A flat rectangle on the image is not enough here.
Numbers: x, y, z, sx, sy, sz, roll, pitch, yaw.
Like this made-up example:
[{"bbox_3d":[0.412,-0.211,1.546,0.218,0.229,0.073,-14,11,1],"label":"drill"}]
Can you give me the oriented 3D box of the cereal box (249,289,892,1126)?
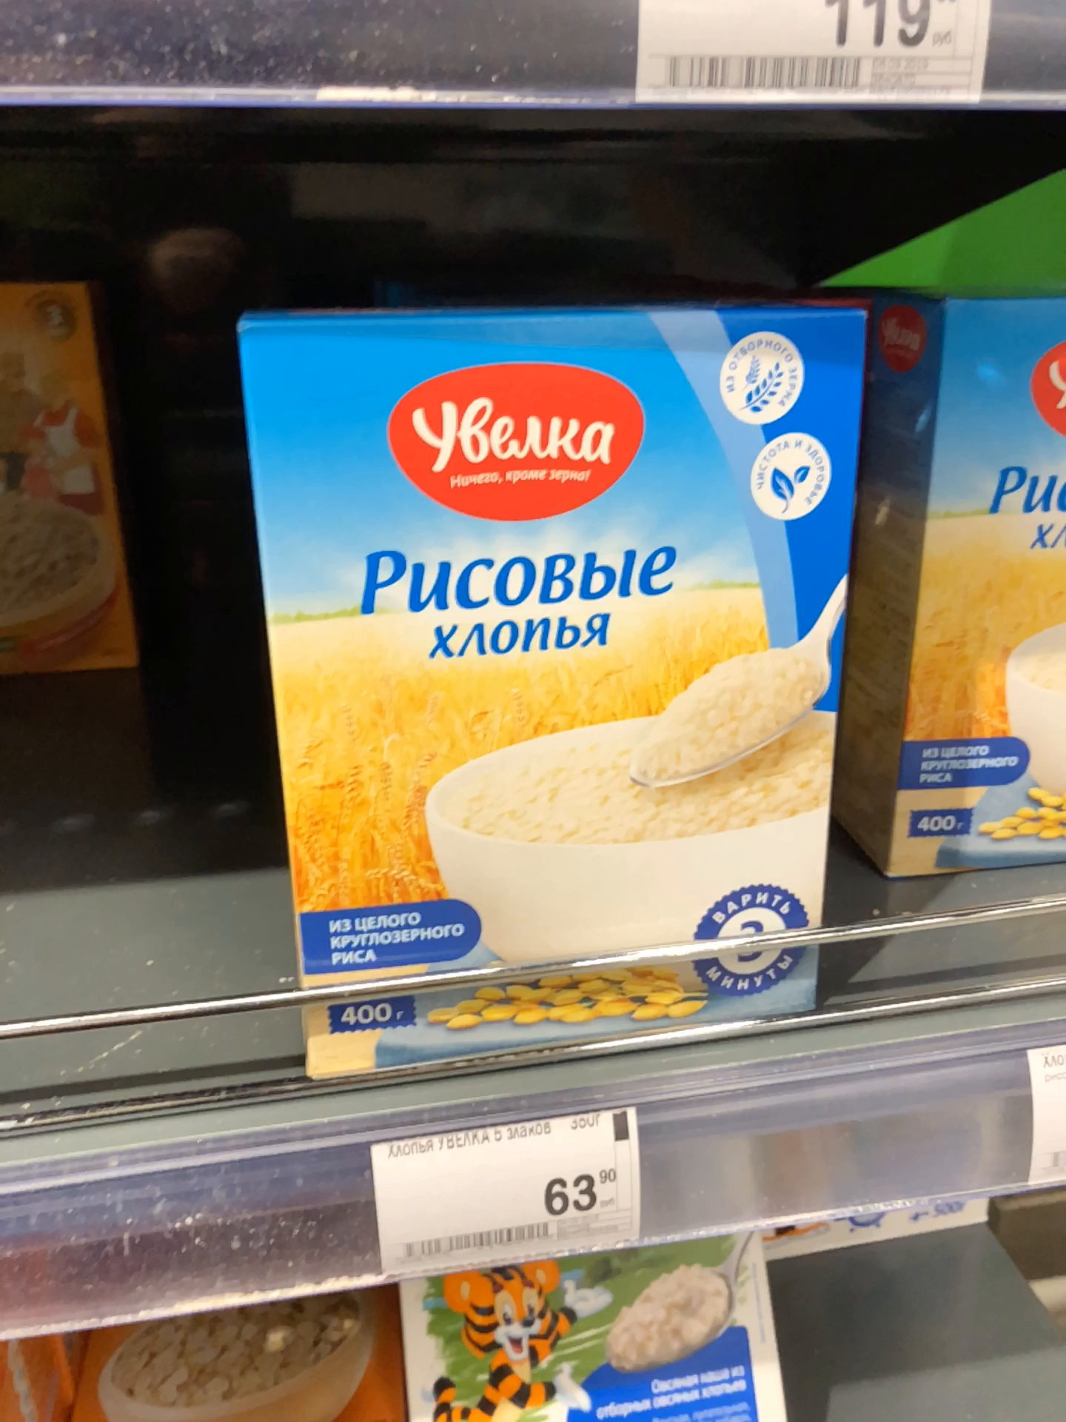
[{"bbox_3d":[0.006,-0.004,0.311,0.140,0.199,0.060,-5,20,-12],"label":"cereal box"}]
